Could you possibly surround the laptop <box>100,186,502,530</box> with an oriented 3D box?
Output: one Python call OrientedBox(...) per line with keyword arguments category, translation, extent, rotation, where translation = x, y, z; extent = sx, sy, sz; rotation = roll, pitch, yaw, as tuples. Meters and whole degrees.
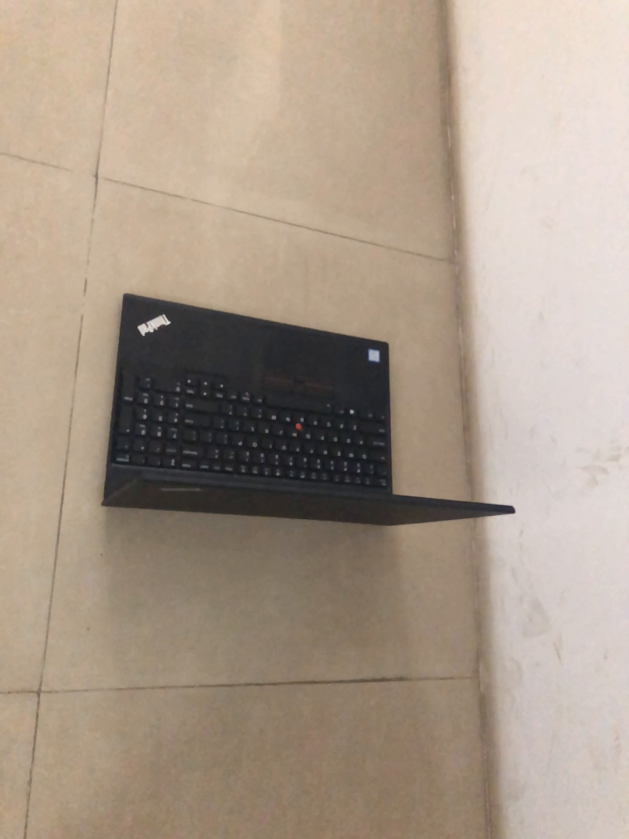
OrientedBox(category="laptop", translation=(-0.020, -0.031, 0.752), extent=(0.354, 0.240, 0.255), rotation=(8, 73, -23))
